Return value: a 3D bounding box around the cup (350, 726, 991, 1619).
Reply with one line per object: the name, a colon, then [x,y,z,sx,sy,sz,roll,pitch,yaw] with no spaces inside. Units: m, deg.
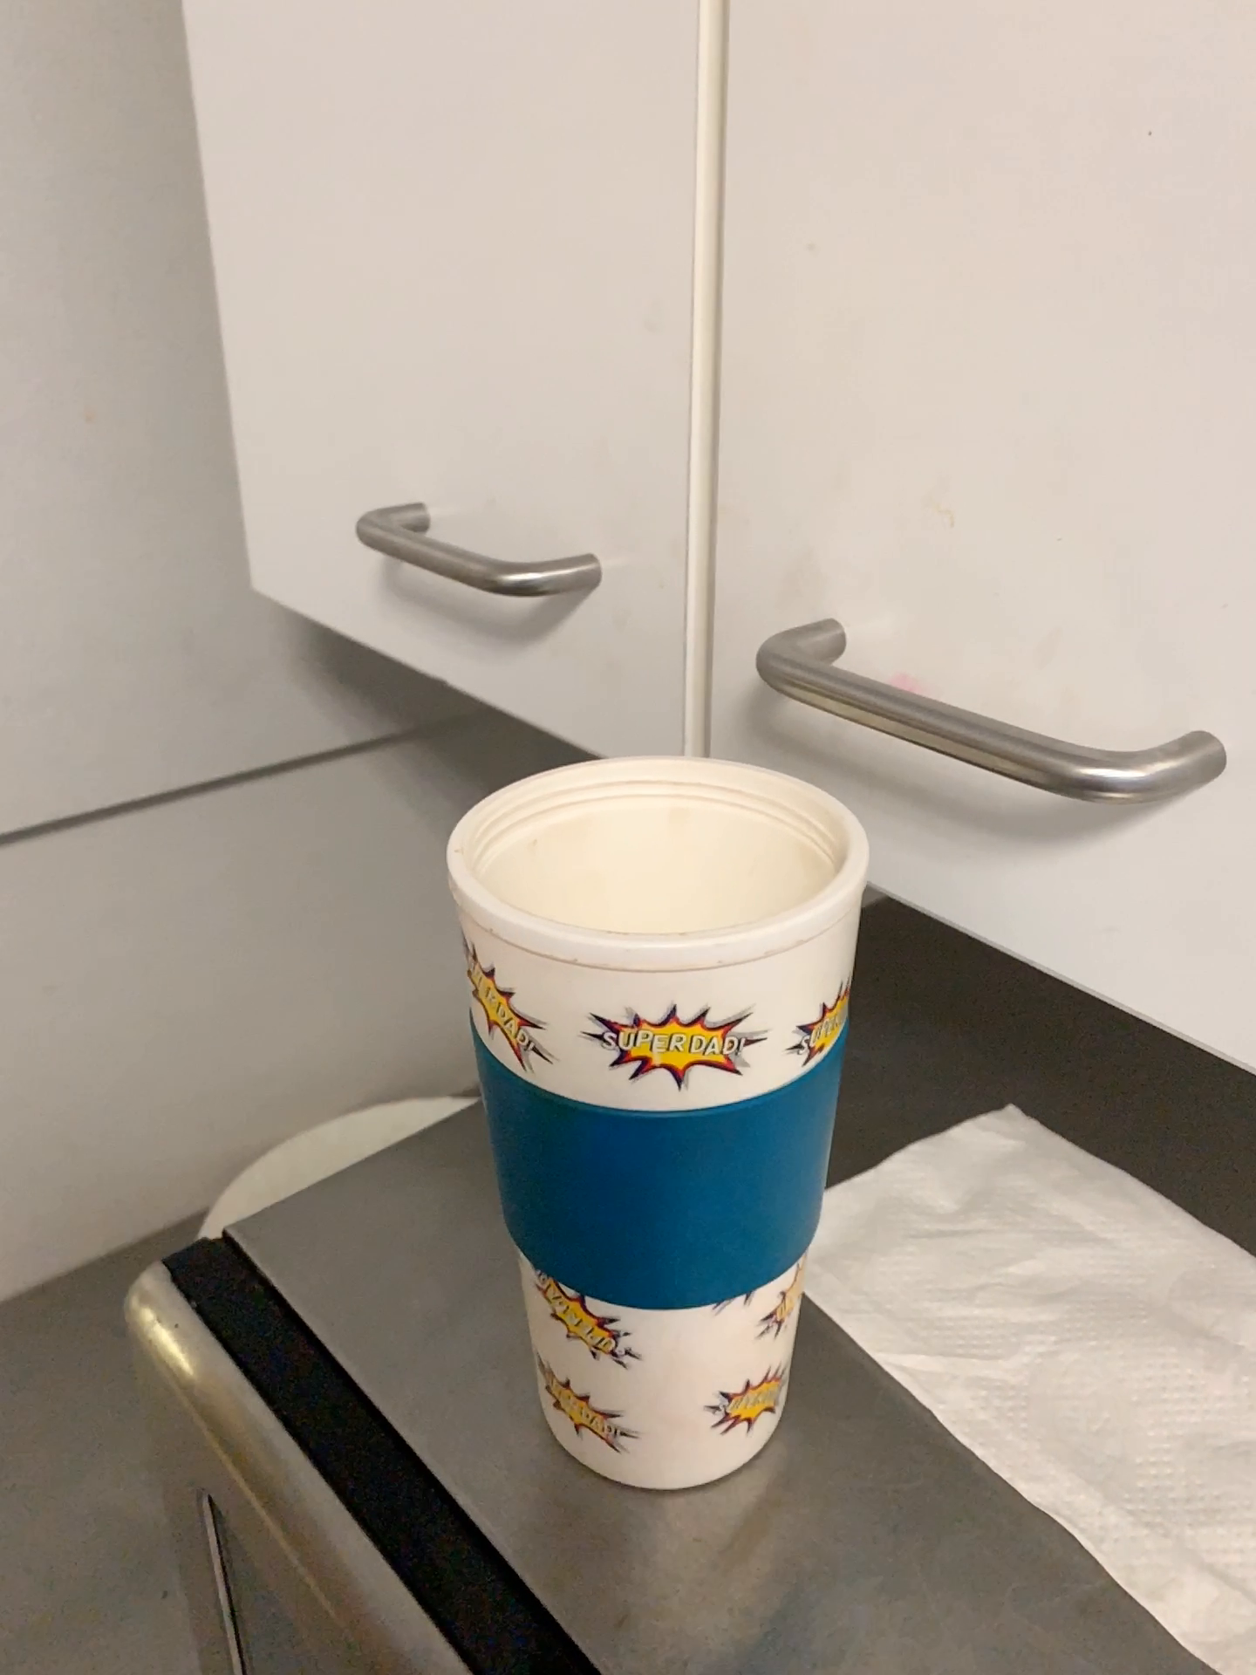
cup: [0.008,0.066,0.301,0.096,0.146,0.093,0,24,0]
